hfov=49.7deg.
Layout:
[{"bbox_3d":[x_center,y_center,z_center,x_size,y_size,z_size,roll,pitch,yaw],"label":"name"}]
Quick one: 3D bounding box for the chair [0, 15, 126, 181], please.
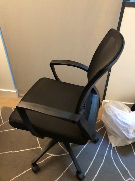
[{"bbox_3d":[-0.076,0.069,1.158,0.790,0.992,0.837,11,39,13],"label":"chair"}]
